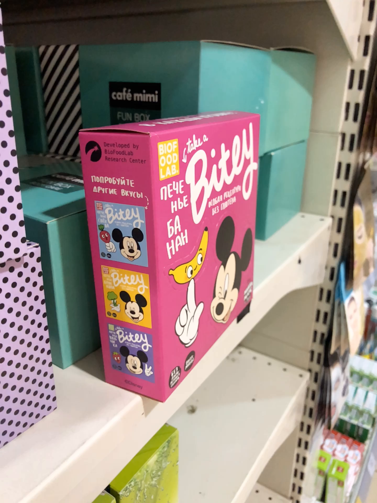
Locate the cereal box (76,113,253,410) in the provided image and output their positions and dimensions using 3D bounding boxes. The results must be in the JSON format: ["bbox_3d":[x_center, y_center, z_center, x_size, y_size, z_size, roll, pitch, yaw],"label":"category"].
[{"bbox_3d":[-0.003,-0.008,0.273,0.040,0.149,0.141,10,22,25],"label":"cereal box"}]
